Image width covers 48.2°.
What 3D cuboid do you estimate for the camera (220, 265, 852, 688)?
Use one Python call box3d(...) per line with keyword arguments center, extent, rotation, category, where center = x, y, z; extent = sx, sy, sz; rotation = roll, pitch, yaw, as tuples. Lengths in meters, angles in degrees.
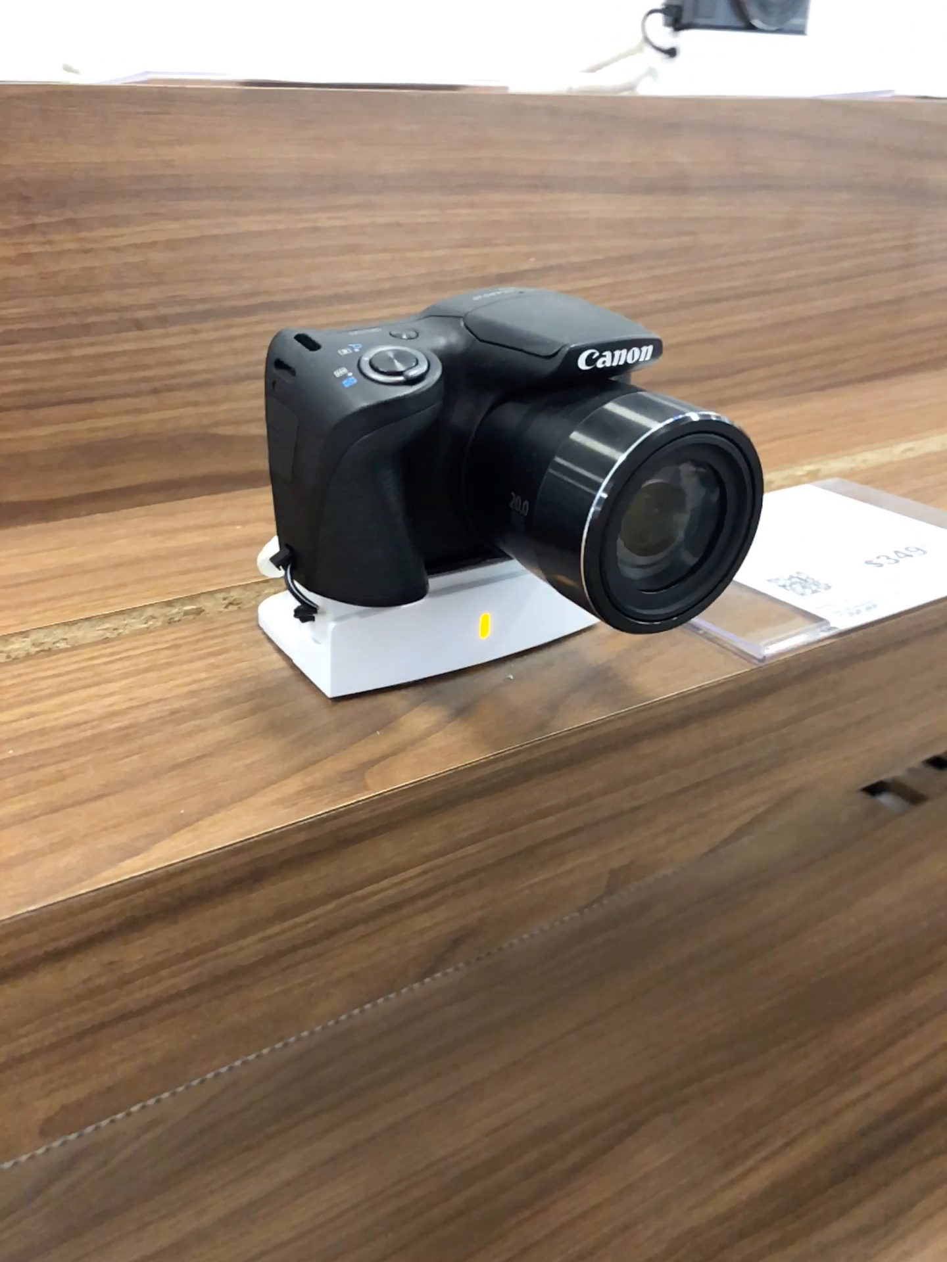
box3d(center=(0.012, -0.051, 0.272), extent=(0.110, 0.070, 0.110), rotation=(-16, 27, -31), category="camera")
